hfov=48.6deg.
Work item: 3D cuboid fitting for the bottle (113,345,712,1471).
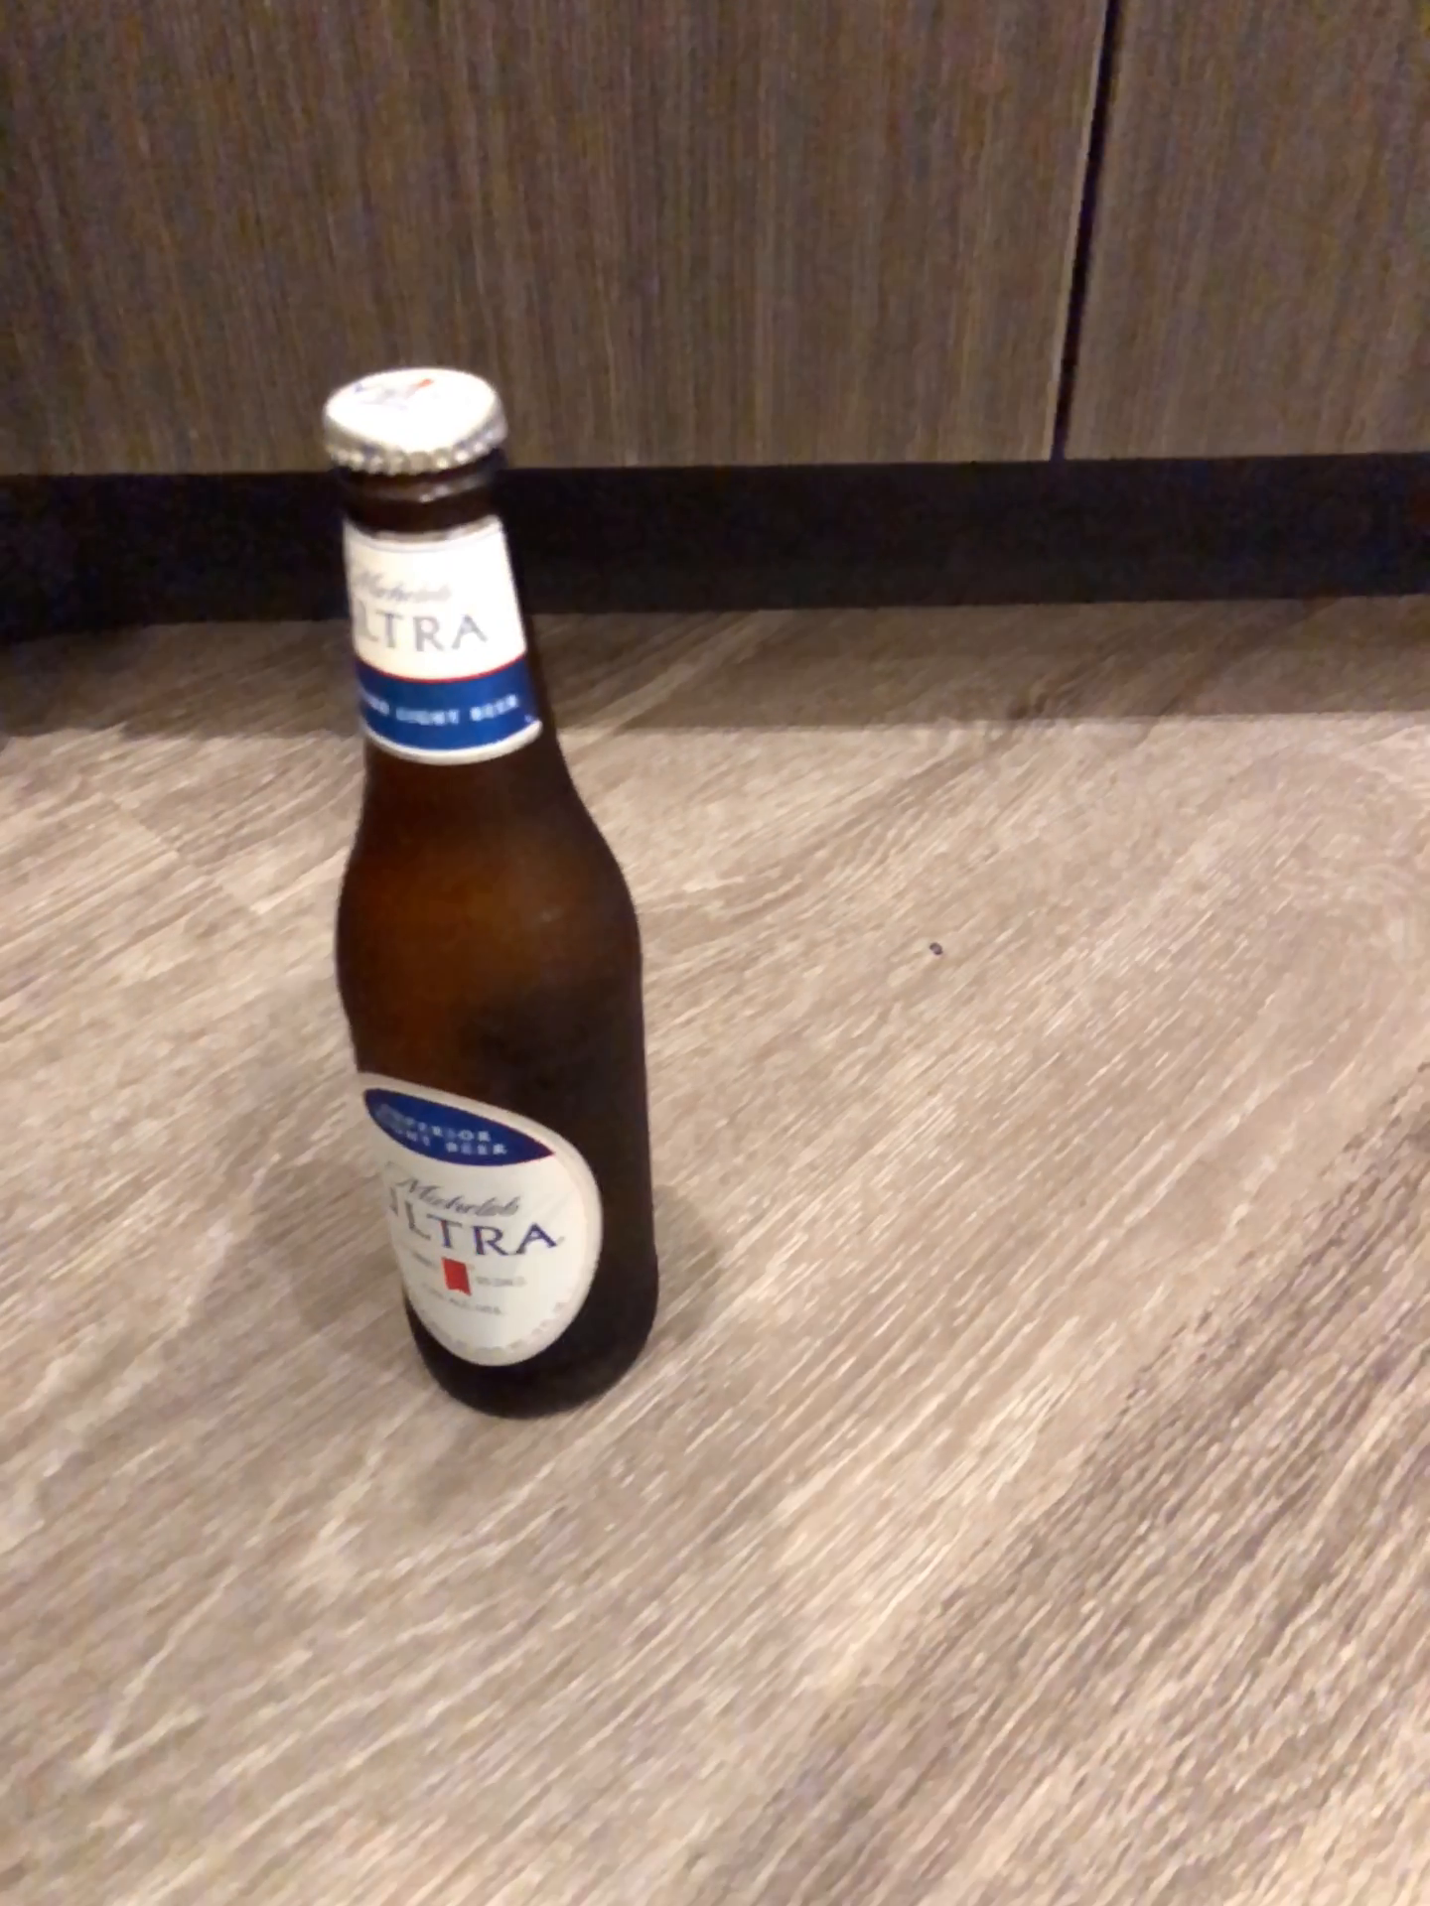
[{"bbox_3d":[-0.043,0.004,0.302,0.060,0.209,0.060,-1,40,1],"label":"bottle"}]
